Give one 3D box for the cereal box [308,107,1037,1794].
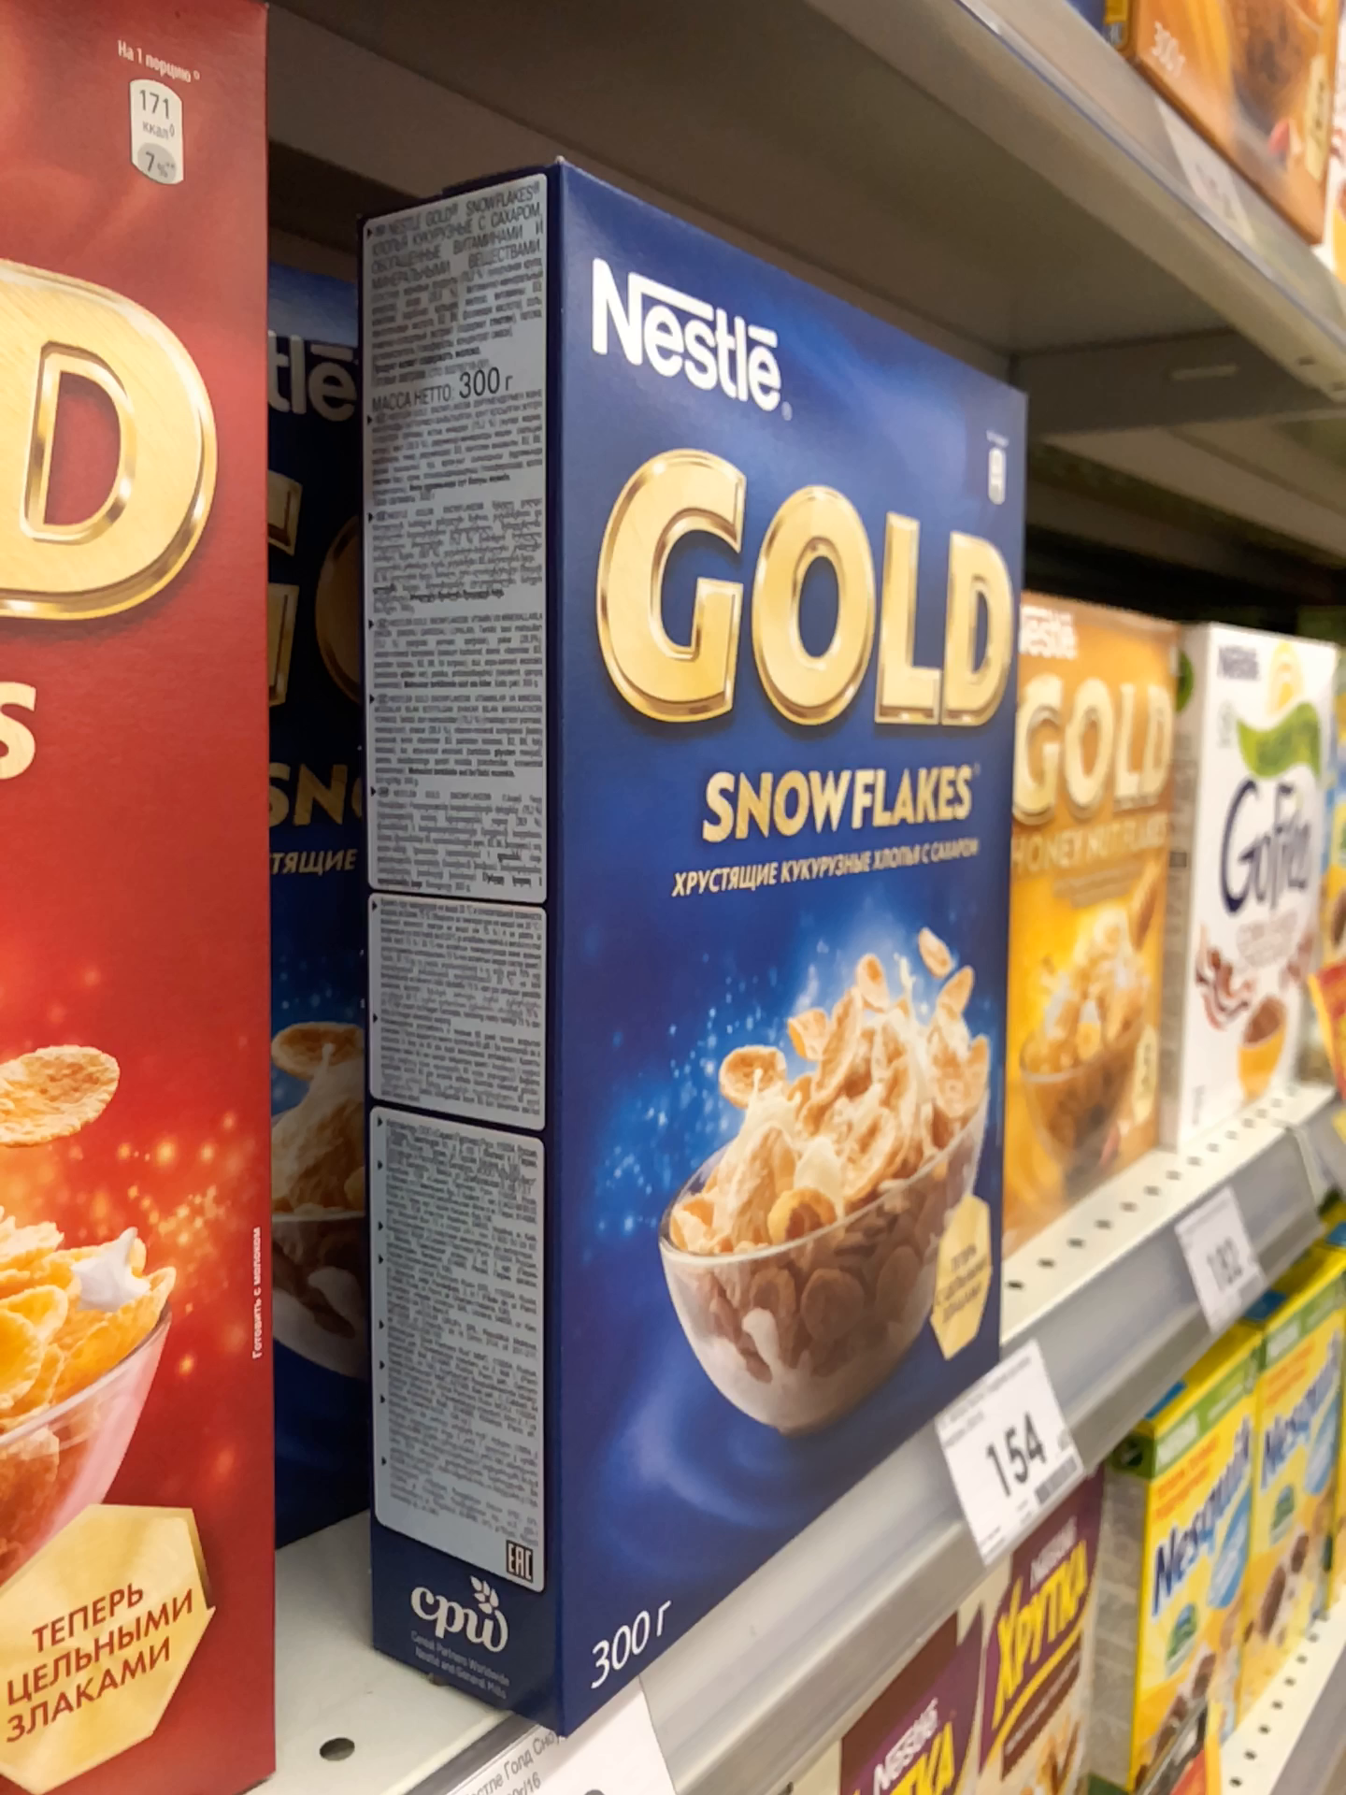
[{"bbox_3d":[0.016,0.007,0.331,0.050,0.270,0.201,4,7,34],"label":"cereal box"}]
